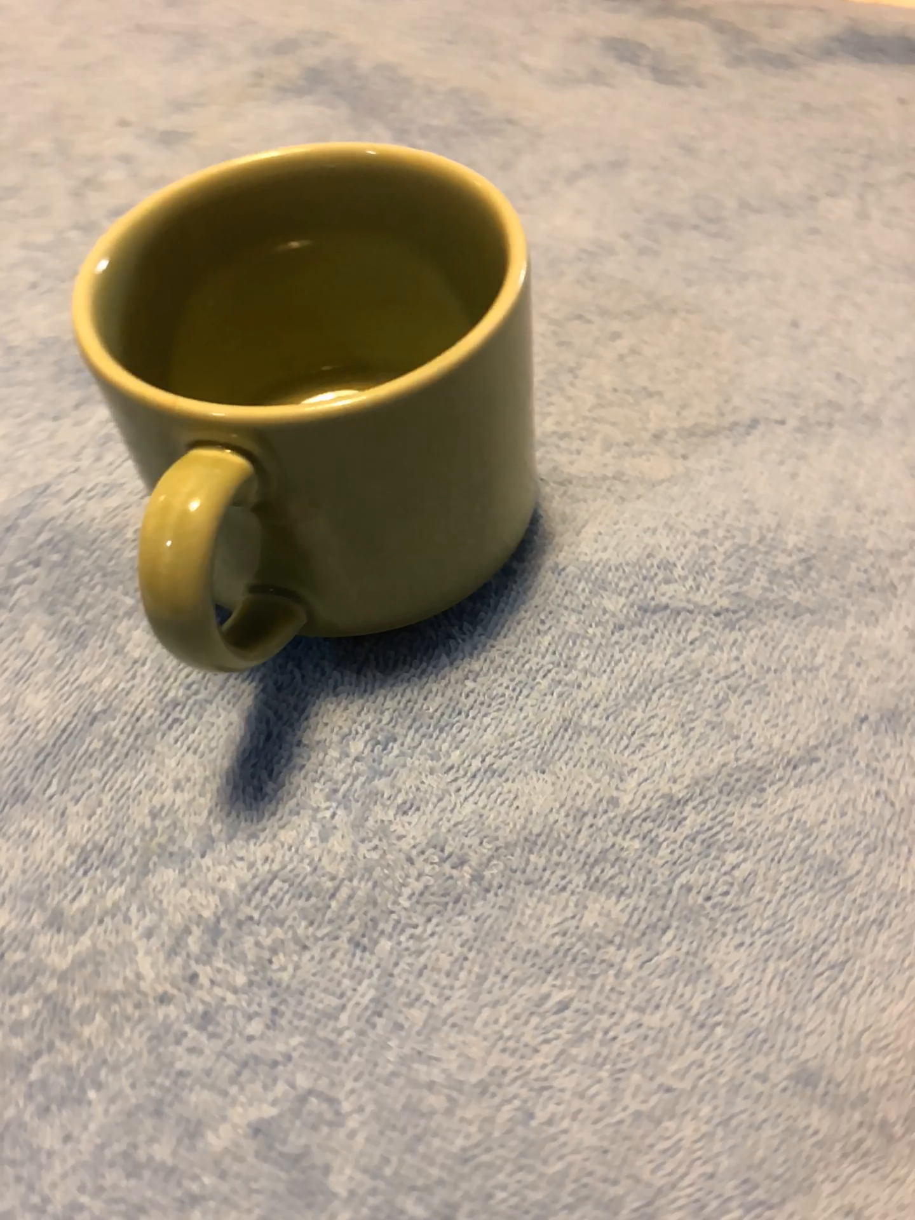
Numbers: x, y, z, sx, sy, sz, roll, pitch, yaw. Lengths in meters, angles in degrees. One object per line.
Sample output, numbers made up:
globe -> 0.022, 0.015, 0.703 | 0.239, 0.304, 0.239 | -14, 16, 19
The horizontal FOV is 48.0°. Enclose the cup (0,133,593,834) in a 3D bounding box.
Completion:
cup -> -0.028, -0.029, 0.191 | 0.090, 0.060, 0.111 | 7, 55, 12
